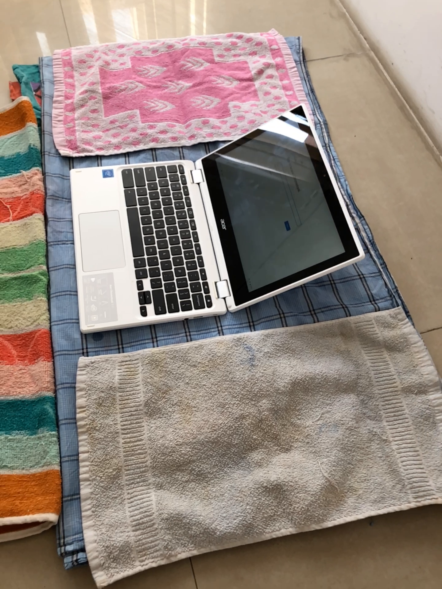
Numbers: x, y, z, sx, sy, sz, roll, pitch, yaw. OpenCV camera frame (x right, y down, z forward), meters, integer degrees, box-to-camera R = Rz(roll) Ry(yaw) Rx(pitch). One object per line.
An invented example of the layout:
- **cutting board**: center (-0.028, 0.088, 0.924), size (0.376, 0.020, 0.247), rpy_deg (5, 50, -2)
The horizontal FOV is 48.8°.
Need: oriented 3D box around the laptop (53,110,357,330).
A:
- **laptop**: center (-0.033, -0.121, 0.710), size (0.367, 0.101, 0.286), rpy_deg (-7, 62, -11)
